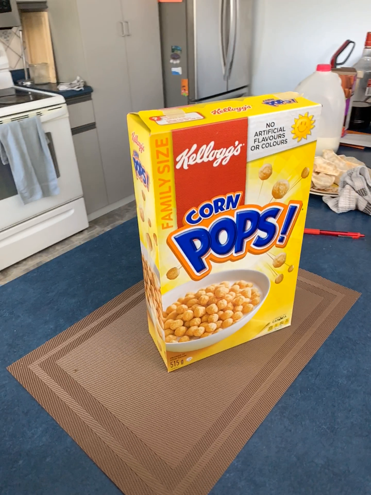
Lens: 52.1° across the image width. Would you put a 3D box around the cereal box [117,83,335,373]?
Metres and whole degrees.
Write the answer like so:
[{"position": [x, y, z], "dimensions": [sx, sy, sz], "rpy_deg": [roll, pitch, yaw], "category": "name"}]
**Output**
[{"position": [0.048, -0.020, 0.480], "dimensions": [0.210, 0.317, 0.091], "rpy_deg": [-15, 33, -19], "category": "cereal box"}]
